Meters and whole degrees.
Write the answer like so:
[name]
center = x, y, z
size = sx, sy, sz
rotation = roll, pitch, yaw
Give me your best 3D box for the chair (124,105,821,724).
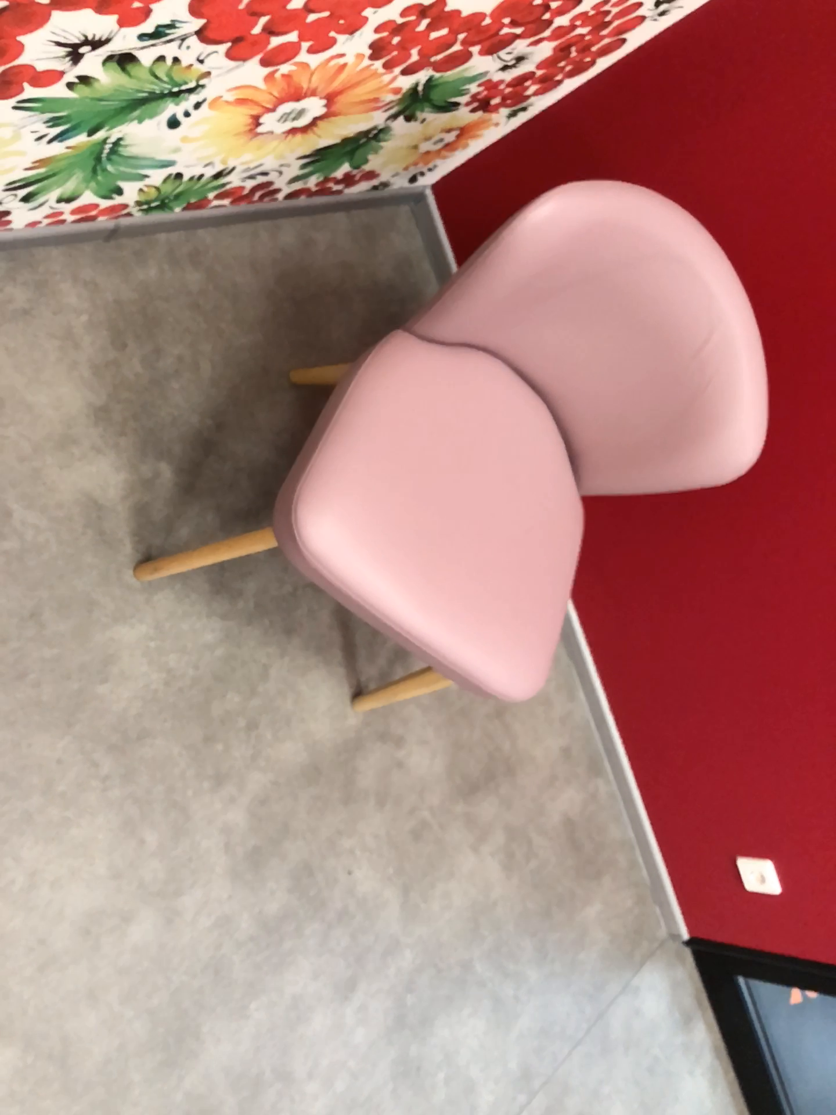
[chair]
center = 0.065, -0.113, 1.380
size = 0.511, 0.786, 0.541
rotation = 37, 59, -30
